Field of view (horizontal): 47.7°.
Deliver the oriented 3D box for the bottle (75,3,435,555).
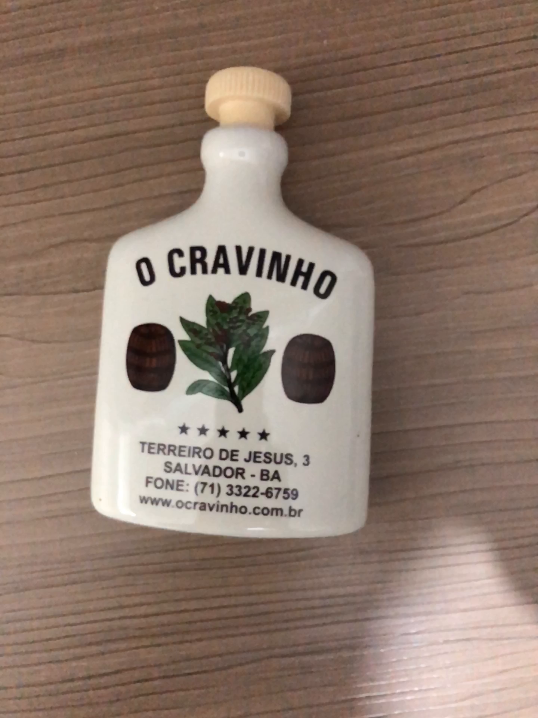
[{"bbox_3d":[-0.005,-0.025,0.202,0.100,0.040,0.160,3,93,4],"label":"bottle"}]
